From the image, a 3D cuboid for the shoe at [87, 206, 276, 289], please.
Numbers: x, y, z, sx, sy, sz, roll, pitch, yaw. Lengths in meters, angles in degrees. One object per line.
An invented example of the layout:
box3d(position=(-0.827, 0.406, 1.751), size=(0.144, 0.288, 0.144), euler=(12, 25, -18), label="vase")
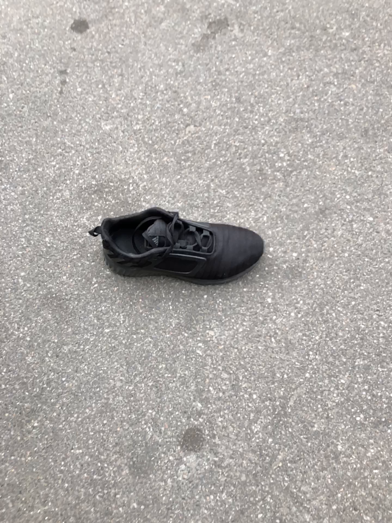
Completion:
box3d(position=(-0.018, -0.021, 0.705), size=(0.280, 0.110, 0.100), euler=(1, 71, 5), label="shoe")
